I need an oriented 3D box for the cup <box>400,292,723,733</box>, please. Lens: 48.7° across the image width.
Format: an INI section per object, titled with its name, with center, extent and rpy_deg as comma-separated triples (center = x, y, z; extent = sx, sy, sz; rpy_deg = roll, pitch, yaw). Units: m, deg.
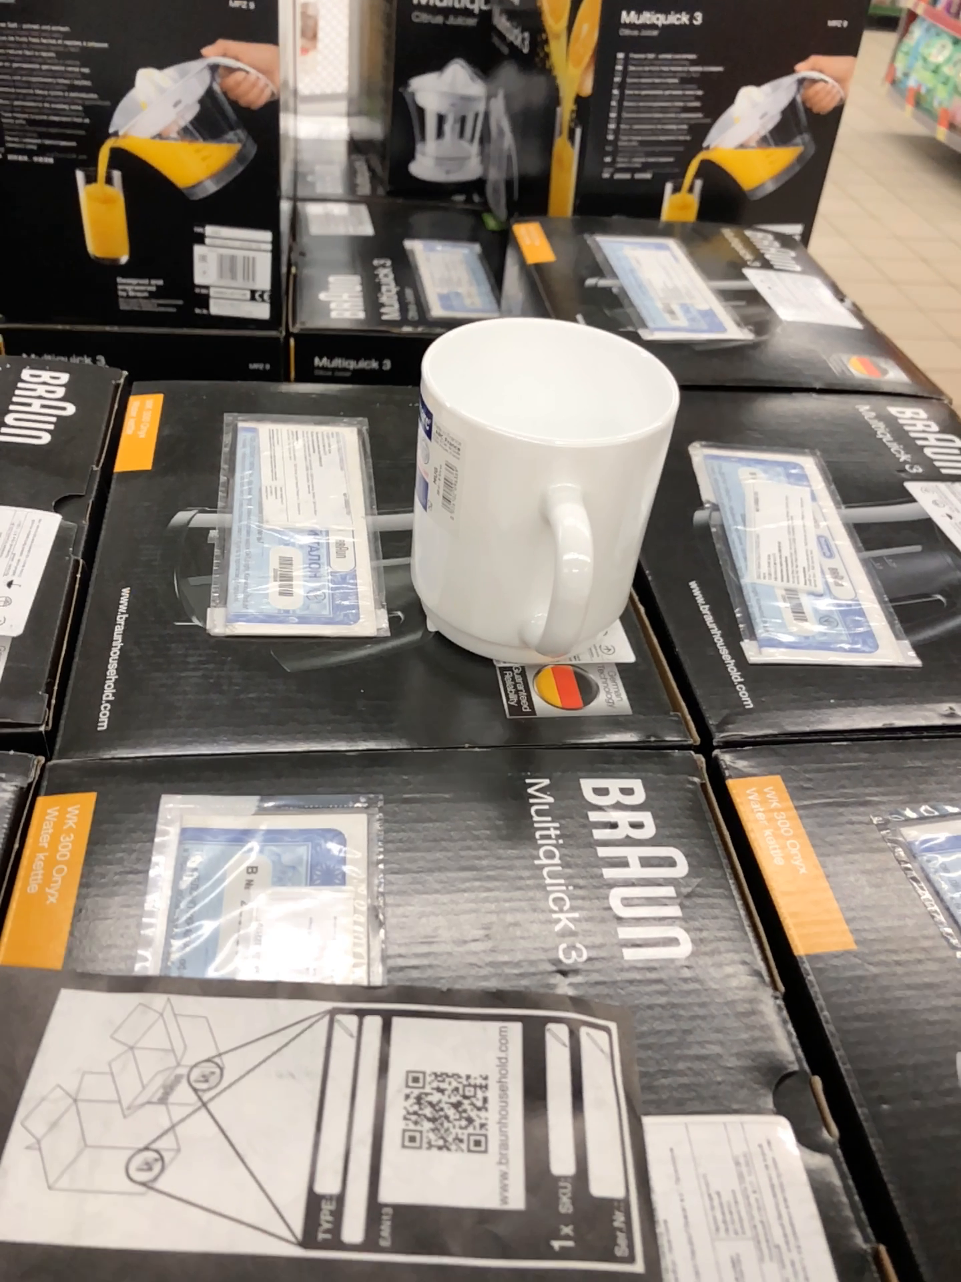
[cup]
center = 0.016, -0.043, 0.342
extent = 0.082, 0.091, 0.111
rpy_deg = 1, 43, -5
